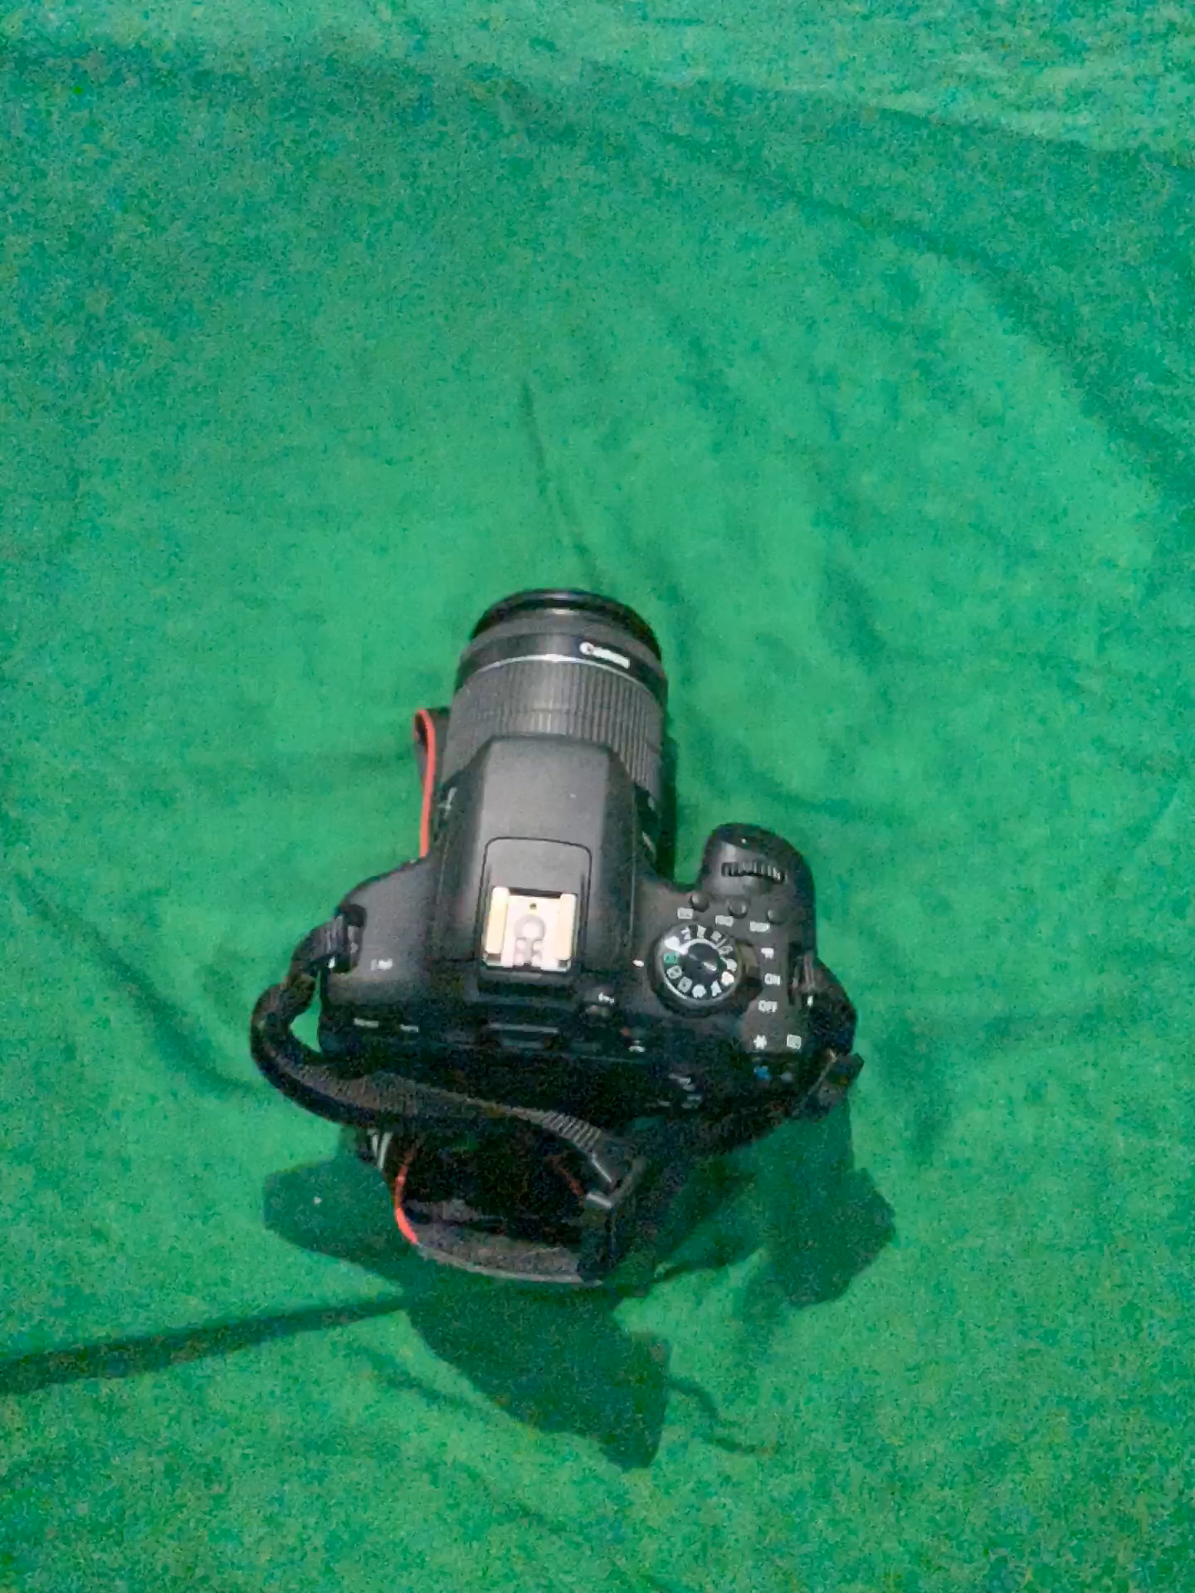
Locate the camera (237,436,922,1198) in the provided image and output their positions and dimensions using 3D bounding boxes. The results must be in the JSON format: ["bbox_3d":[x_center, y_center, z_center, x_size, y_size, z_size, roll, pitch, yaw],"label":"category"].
[{"bbox_3d":[0.002,0.007,0.358,0.152,0.100,0.191,2,67,3],"label":"camera"}]
